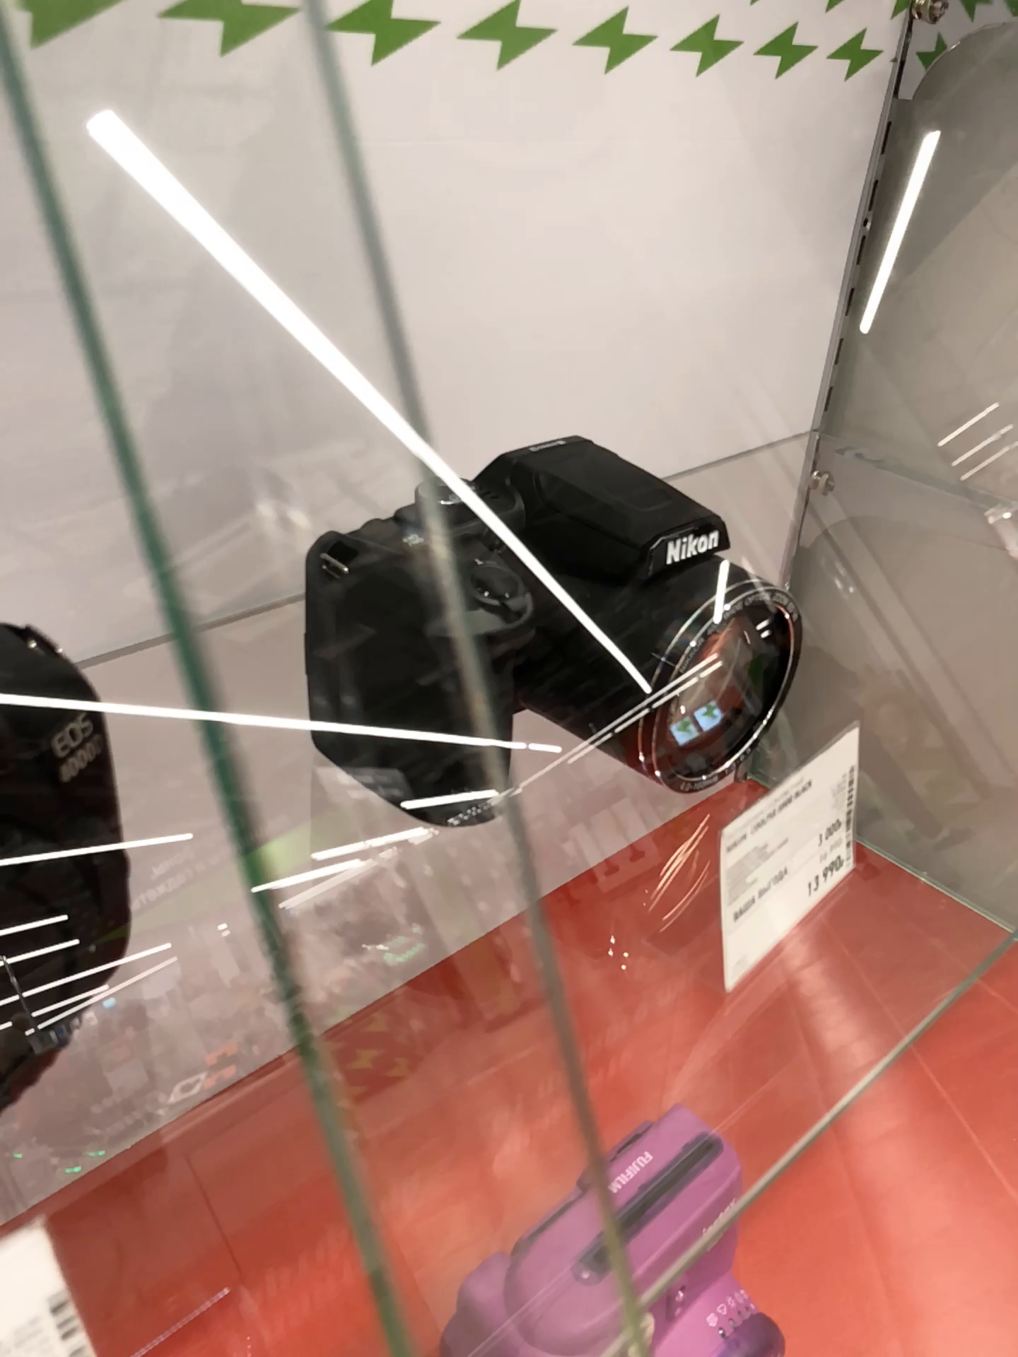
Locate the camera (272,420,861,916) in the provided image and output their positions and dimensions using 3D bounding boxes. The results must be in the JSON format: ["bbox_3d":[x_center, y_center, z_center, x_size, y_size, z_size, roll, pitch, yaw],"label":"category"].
[{"bbox_3d":[0.013,-0.013,0.306,0.115,0.070,0.100,-22,40,-37],"label":"camera"}]
